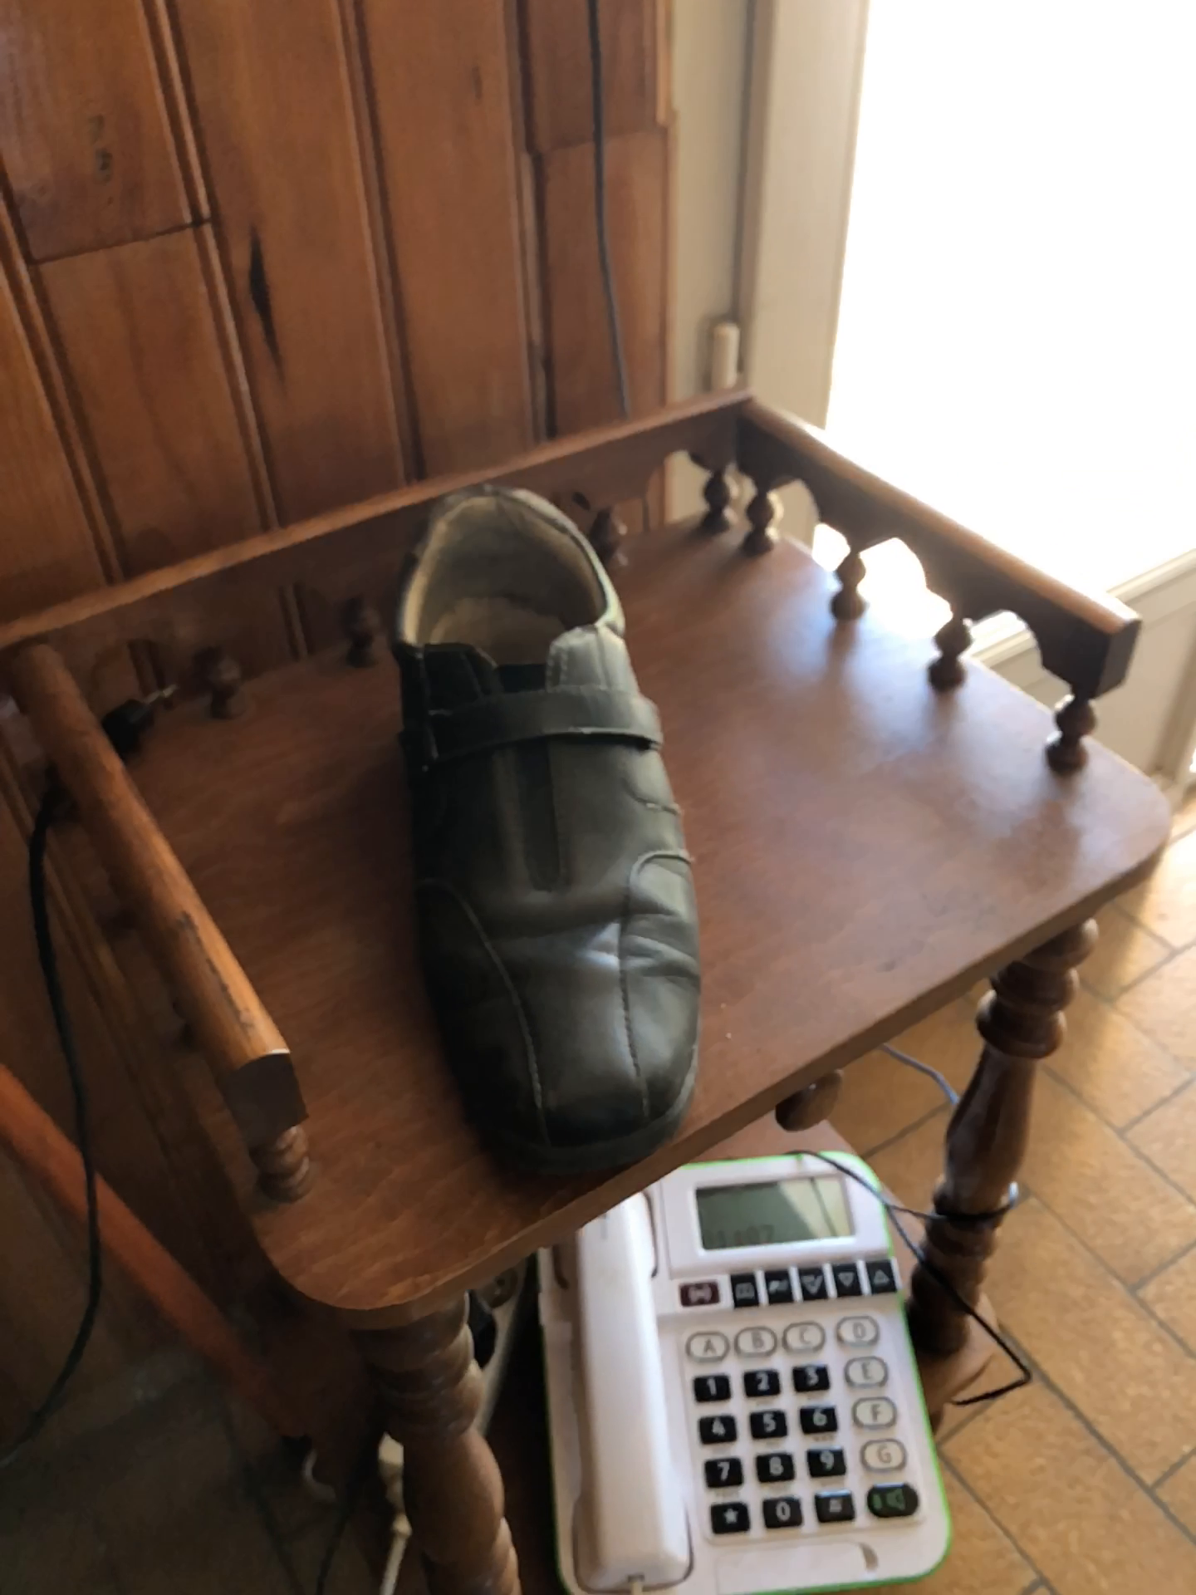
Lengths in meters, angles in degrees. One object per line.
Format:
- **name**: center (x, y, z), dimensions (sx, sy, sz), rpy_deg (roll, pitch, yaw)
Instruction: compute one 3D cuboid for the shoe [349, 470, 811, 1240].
- **shoe**: center (-0.019, 0.001, 0.448), dimensions (0.100, 0.099, 0.251), rpy_deg (-8, 43, -7)
